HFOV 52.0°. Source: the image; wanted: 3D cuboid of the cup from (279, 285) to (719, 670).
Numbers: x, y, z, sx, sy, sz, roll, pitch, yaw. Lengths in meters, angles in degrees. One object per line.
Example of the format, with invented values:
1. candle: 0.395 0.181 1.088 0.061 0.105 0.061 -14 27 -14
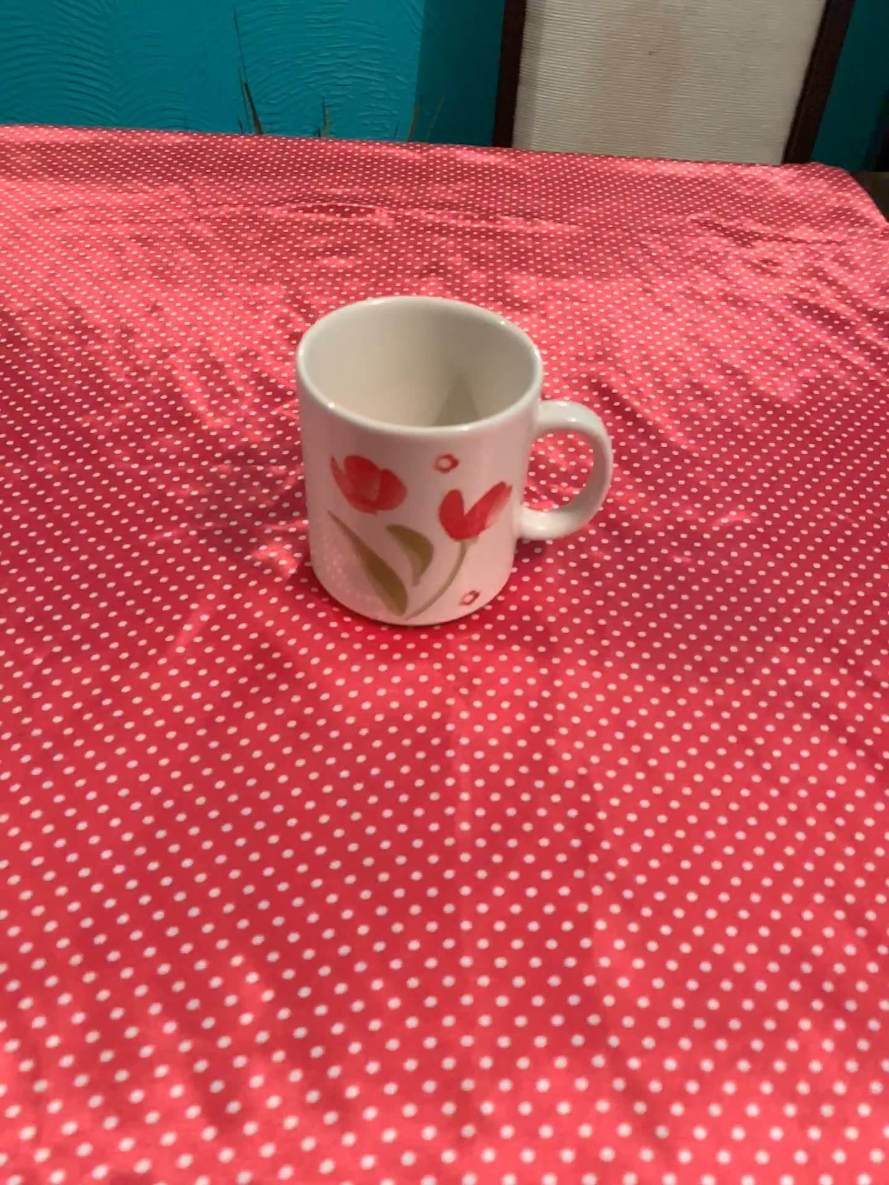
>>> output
1. cup: 0.009 -0.040 0.308 0.120 0.090 0.090 -2 46 -7
